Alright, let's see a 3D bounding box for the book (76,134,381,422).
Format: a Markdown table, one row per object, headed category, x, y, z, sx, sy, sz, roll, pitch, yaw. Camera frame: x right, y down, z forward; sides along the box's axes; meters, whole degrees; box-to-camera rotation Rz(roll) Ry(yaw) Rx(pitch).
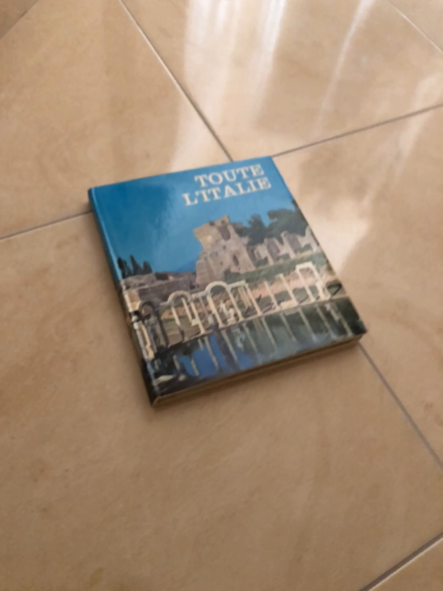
| category | x | y | z | sx | sy | sz | roll | pitch | yaw |
| --- | --- | --- | --- | --- | --- | --- | --- | --- | --- |
| book | -0.004 | -0.041 | 0.548 | 0.240 | 0.050 | 0.290 | -15 | 63 | -17 |
